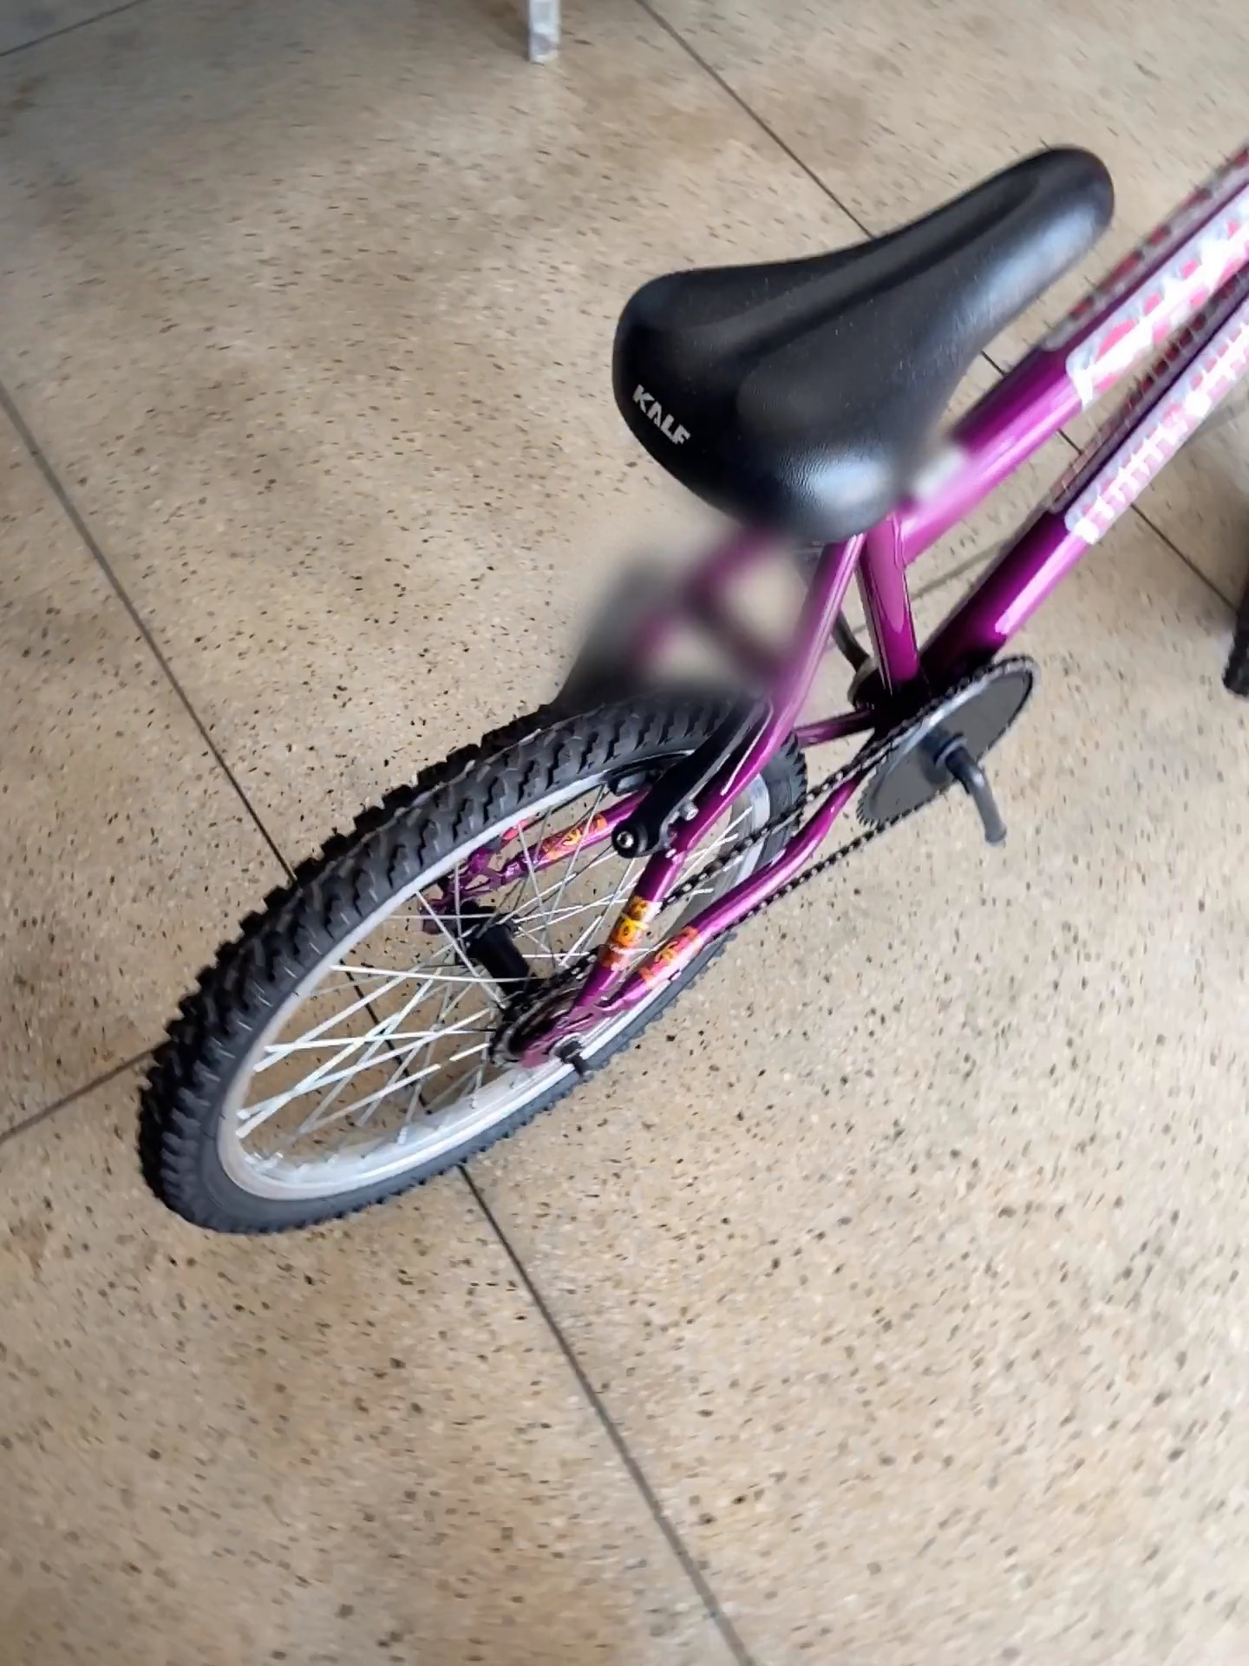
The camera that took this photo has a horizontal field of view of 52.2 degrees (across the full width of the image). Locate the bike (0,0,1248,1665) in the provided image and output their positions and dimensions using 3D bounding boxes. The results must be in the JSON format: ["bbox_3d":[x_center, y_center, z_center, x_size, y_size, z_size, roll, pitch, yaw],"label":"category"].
[{"bbox_3d":[0.200,-0.235,0.782,1.263,0.936,0.615,-38,72,-16],"label":"bike"}]
